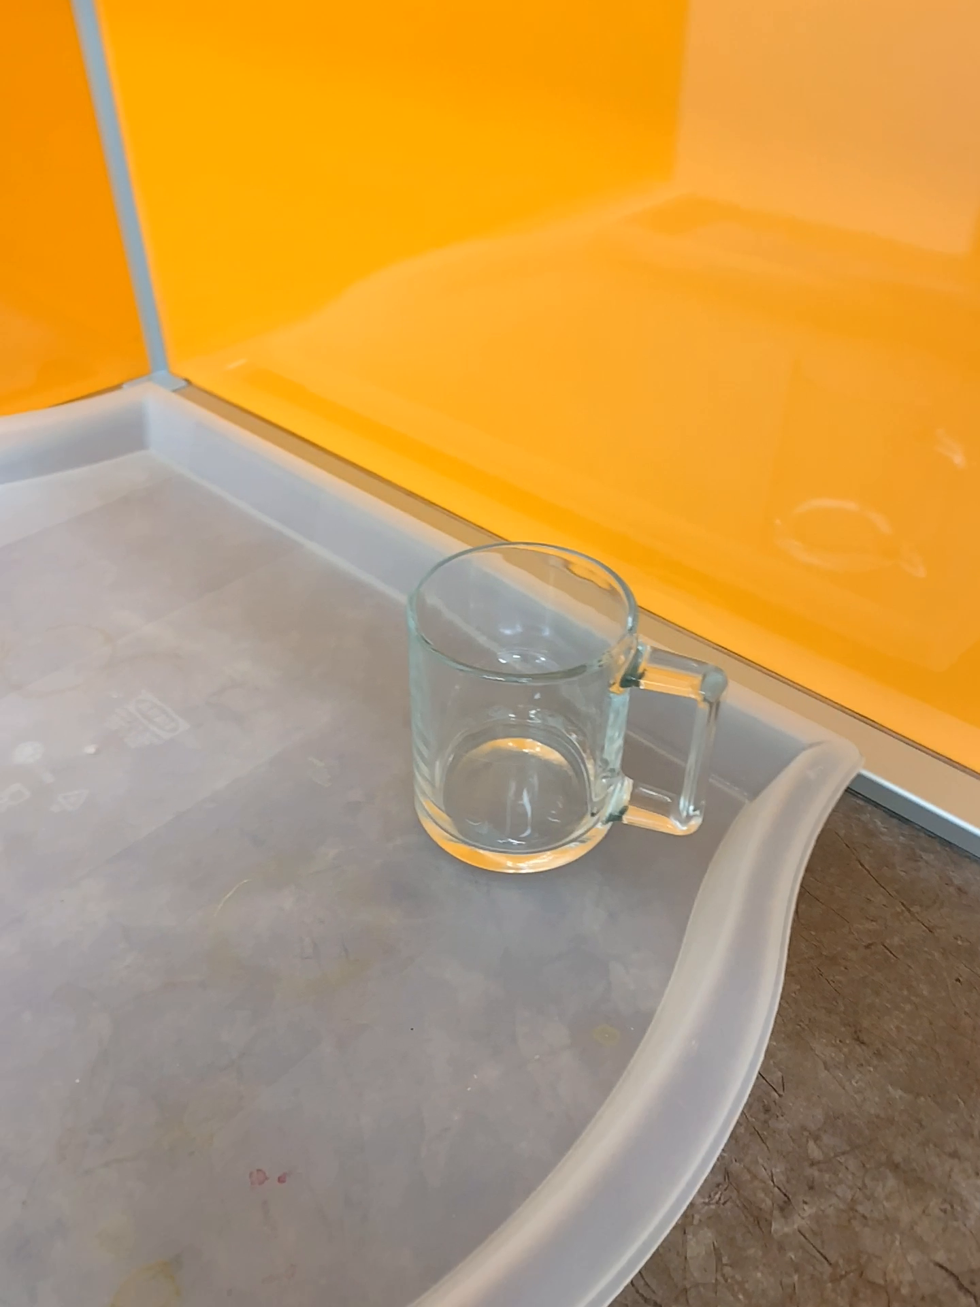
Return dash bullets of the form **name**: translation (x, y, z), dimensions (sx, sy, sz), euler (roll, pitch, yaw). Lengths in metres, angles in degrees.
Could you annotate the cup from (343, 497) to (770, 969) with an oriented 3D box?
- **cup**: translation (0.022, 0.024, 0.340), dimensions (0.109, 0.104, 0.082), euler (16, 42, 16)
